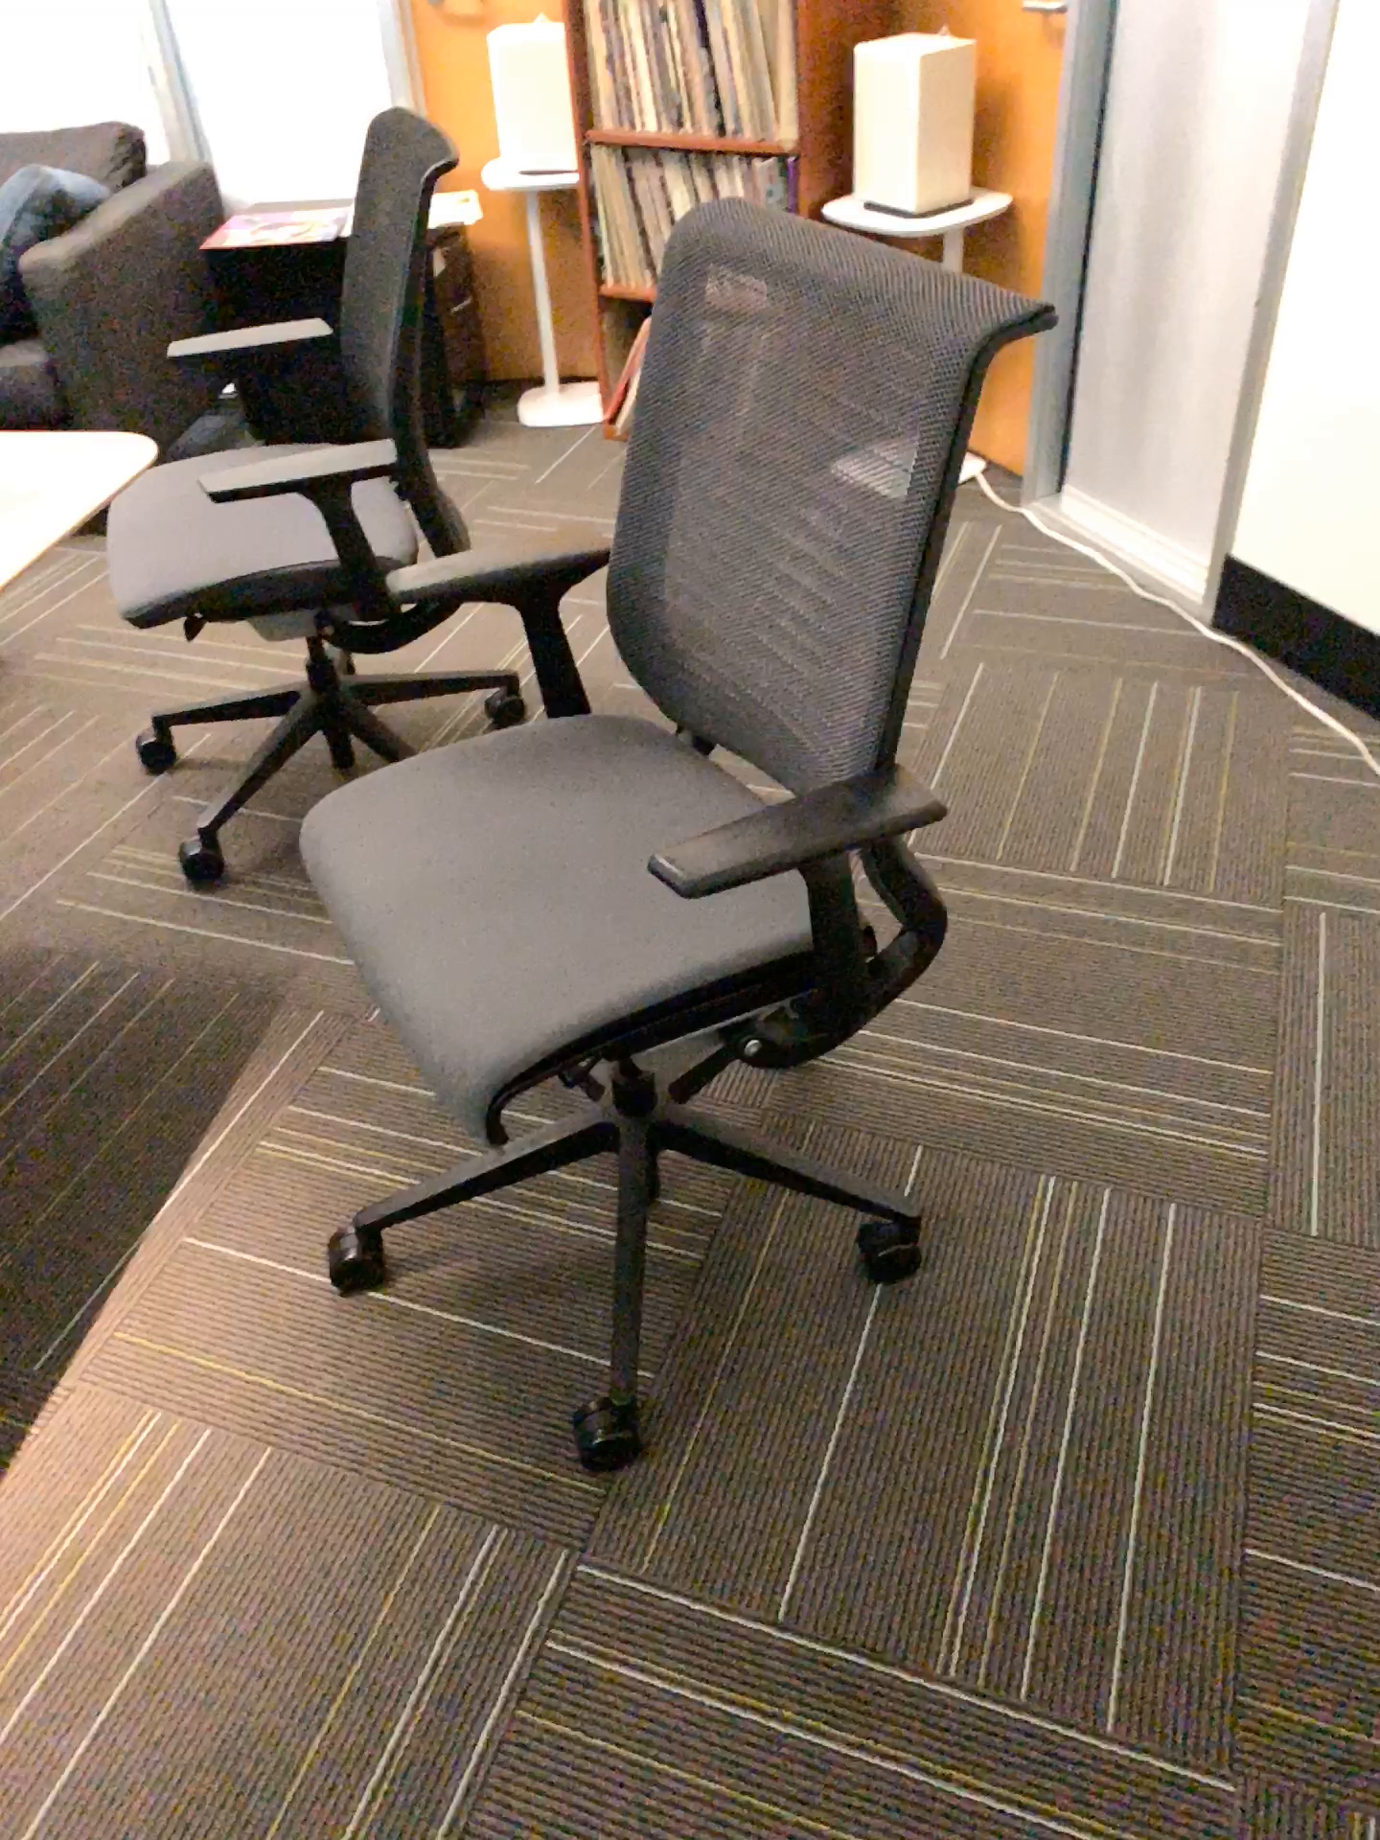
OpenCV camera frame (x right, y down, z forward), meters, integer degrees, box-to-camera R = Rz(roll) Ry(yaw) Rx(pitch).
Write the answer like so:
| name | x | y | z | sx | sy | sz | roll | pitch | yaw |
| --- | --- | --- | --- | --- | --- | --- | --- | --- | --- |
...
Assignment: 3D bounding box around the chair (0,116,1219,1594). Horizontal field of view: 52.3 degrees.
| name | x | y | z | sx | sy | sz | roll | pitch | yaw |
| --- | --- | --- | --- | --- | --- | --- | --- | --- | --- |
| chair | -0.132 | -0.103 | 1.489 | 0.800 | 1.113 | 0.795 | -24 | 44 | -22 |
